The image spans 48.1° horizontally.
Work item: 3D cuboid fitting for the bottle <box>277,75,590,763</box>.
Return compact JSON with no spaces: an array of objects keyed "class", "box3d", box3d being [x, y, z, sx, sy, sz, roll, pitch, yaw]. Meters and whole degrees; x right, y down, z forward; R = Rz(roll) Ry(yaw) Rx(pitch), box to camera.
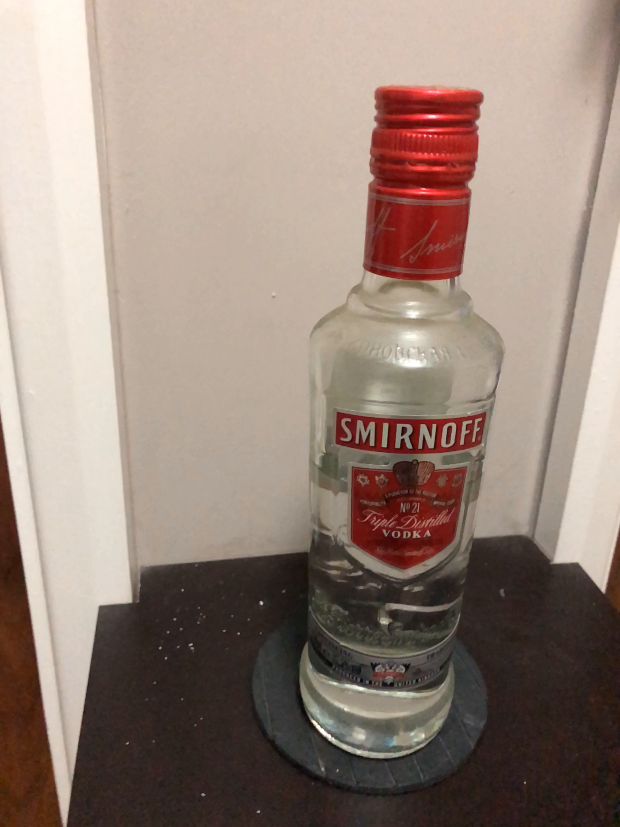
[{"class":"bottle","box3d":[0.026,0.009,0.237,0.070,0.219,0.070,2,23,-1]}]
